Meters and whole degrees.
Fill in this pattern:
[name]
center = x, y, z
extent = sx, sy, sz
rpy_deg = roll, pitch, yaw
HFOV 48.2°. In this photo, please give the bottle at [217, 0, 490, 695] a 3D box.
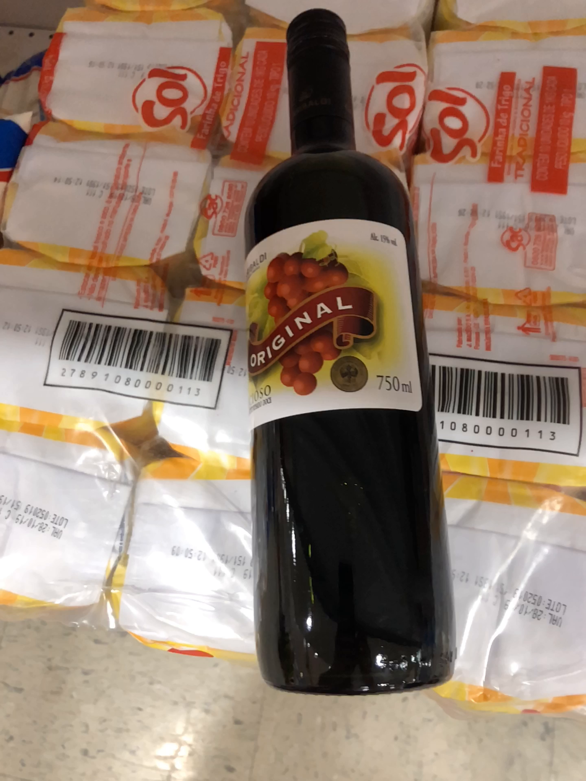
[bottle]
center = 0.020, -0.046, 0.293
extent = 0.080, 0.070, 0.321
rpy_deg = -11, 70, 27
